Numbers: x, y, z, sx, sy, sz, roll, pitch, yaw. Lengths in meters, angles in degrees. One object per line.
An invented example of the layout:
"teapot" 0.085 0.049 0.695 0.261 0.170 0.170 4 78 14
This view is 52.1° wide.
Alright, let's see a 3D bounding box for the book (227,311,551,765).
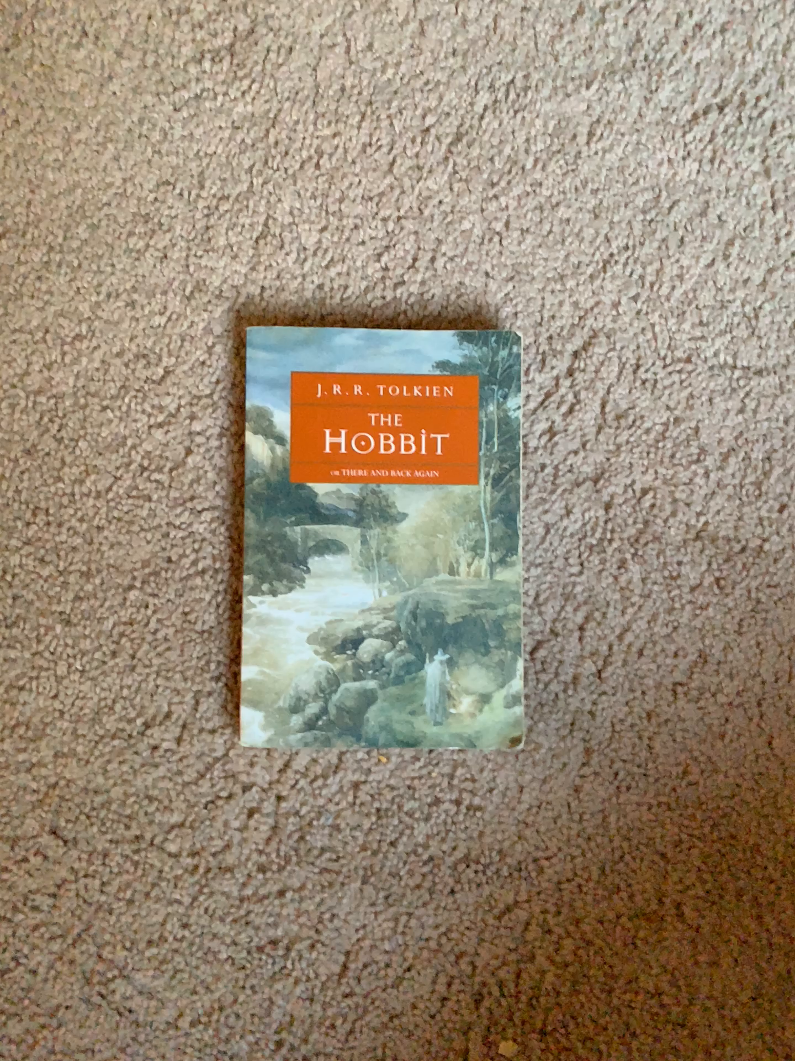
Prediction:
"book" -0.005 0.001 0.407 0.150 0.030 0.220 0 82 -2
